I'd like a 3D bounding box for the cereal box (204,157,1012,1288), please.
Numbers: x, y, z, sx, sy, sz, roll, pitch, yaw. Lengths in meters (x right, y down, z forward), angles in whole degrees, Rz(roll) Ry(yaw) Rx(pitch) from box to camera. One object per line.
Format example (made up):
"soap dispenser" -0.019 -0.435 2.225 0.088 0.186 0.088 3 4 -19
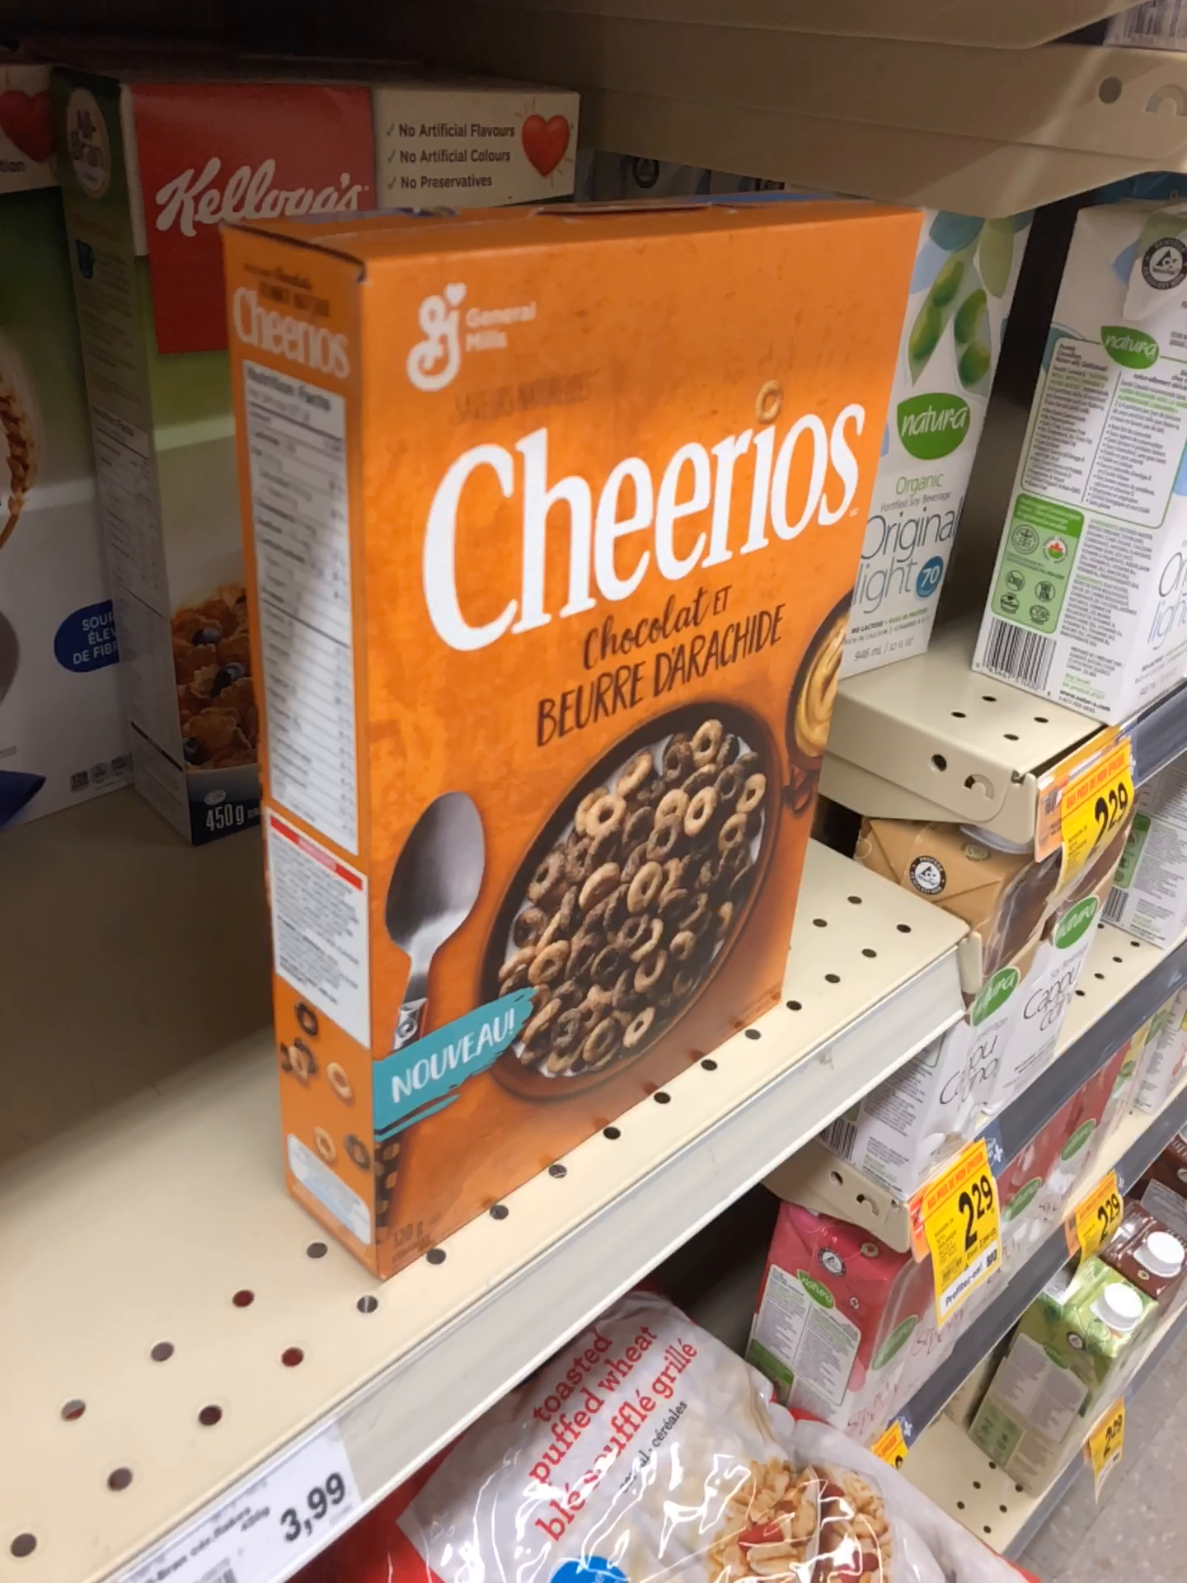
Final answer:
"cereal box" 0.008 -0.024 0.365 0.050 0.268 0.211 31 40 35
